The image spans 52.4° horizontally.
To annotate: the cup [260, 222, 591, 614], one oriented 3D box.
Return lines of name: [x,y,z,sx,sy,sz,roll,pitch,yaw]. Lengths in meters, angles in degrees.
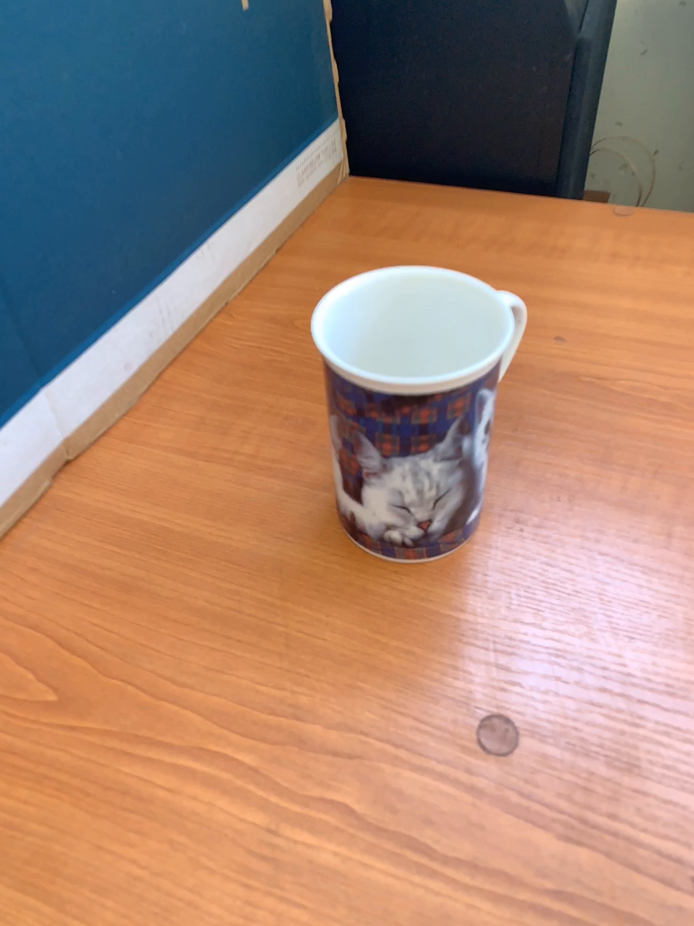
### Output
cup: [0.036,-0.023,0.295,0.080,0.100,0.110,21,50,25]
